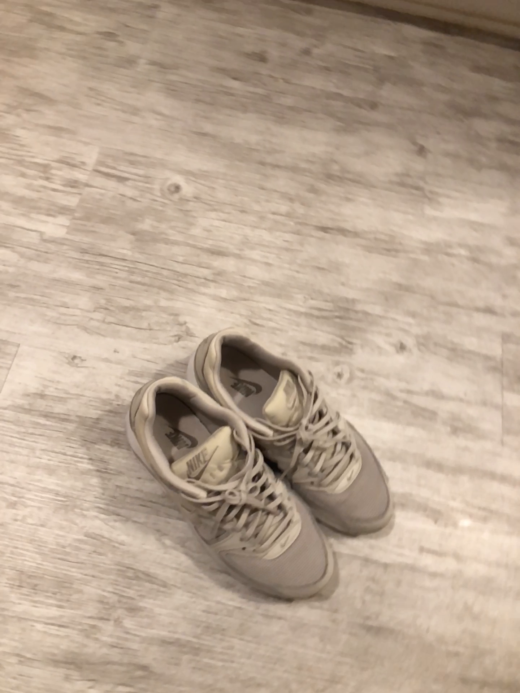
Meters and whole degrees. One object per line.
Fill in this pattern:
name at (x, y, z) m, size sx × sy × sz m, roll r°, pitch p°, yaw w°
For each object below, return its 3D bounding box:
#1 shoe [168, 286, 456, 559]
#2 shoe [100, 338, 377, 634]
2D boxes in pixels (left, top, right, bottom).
shoe at (0.039, 0.077, 0.557) m, size 0.250 × 0.120 × 0.100 m, roll 39°, pitch 68°, yaw 12°
shoe at (-0.028, 0.130, 0.533) m, size 0.090 × 0.120 × 0.250 m, roll -39°, pitch 75°, yaw -20°
